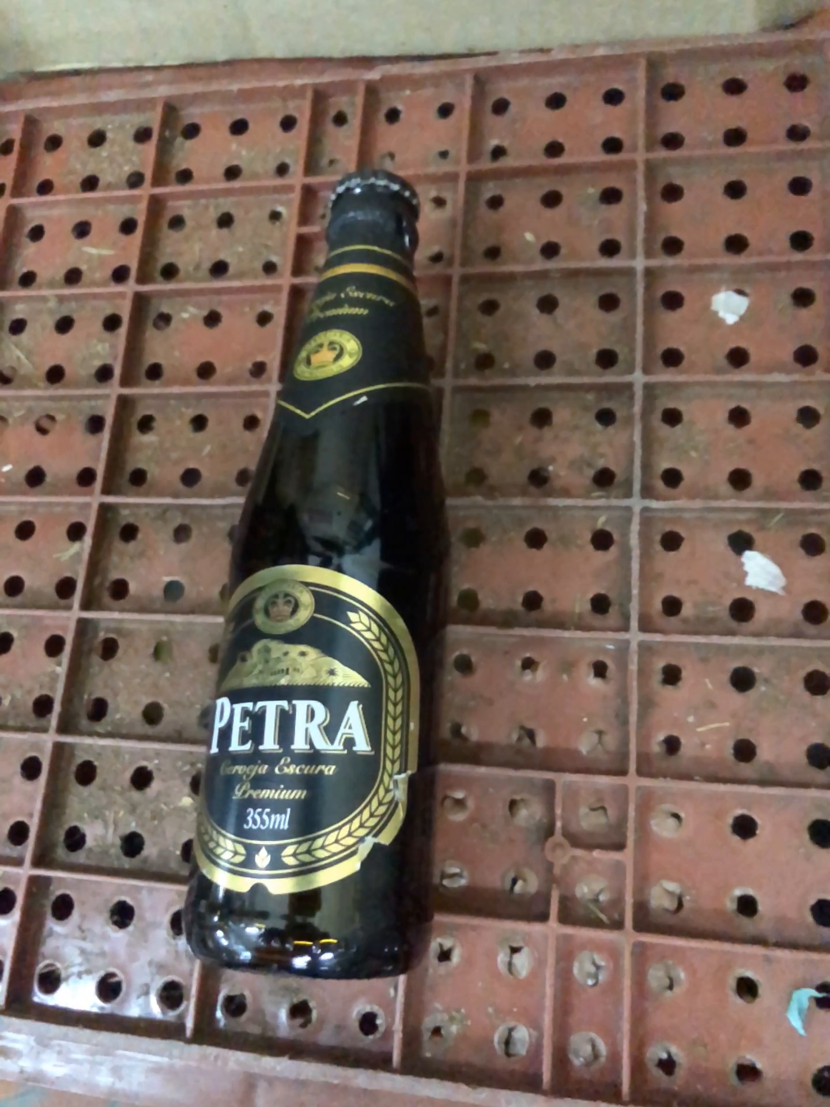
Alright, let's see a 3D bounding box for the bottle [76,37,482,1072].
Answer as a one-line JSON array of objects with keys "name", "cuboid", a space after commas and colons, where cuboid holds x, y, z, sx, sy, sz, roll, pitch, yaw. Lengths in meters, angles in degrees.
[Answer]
[{"name": "bottle", "cuboid": [-0.024, -0.011, 0.249, 0.070, 0.060, 0.250, -1, 72, 11]}]
